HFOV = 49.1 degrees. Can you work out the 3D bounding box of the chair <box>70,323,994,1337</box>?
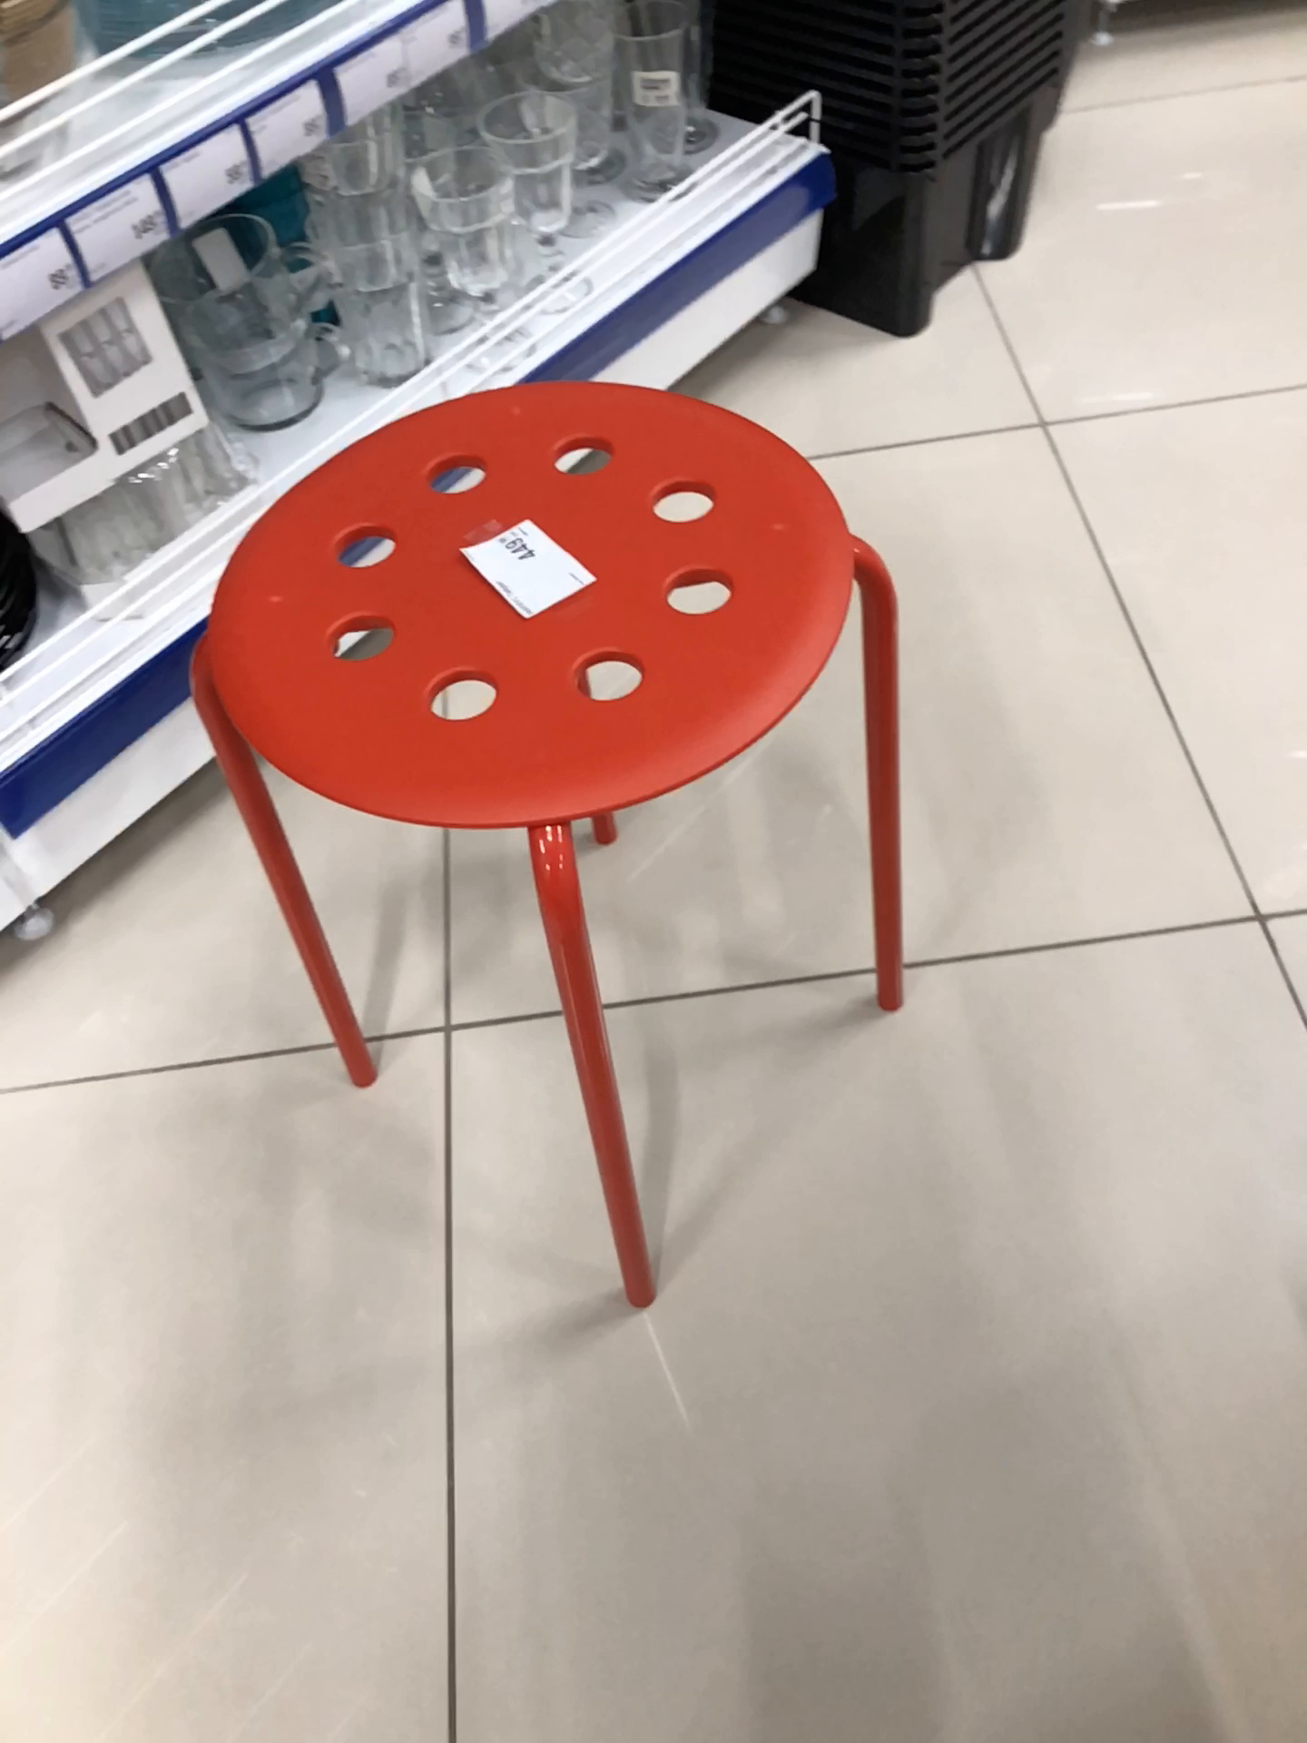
[{"bbox_3d":[-0.040,-0.018,0.845,0.321,0.405,0.314,32,62,28],"label":"chair"}]
